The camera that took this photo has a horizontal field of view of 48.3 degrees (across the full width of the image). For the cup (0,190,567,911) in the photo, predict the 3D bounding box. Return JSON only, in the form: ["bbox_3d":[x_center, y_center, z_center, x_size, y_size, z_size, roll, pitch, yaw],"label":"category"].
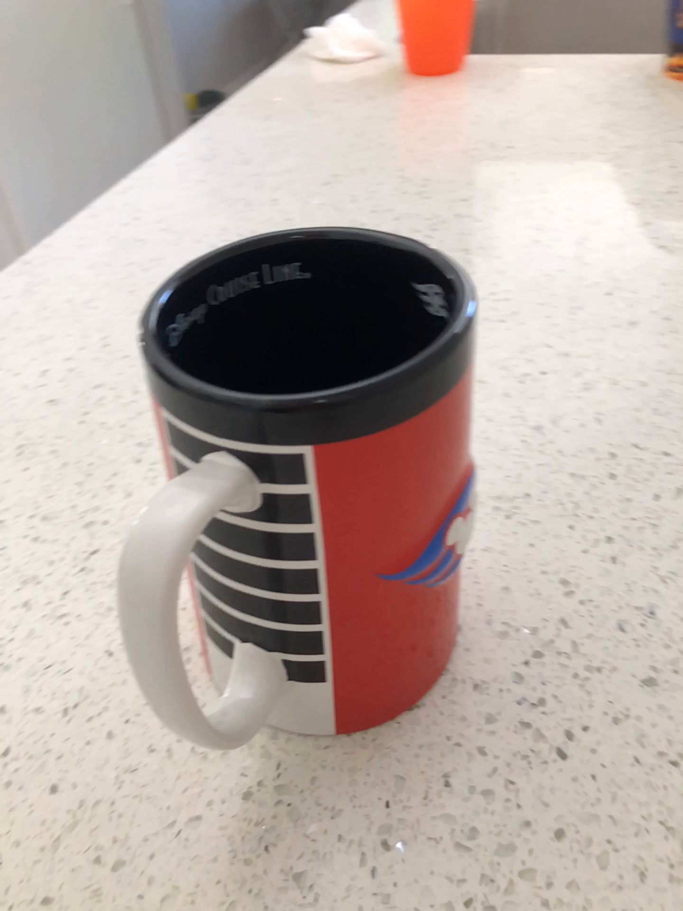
[{"bbox_3d":[-0.009,0.014,0.198,0.090,0.110,0.130,15,44,24],"label":"cup"}]
